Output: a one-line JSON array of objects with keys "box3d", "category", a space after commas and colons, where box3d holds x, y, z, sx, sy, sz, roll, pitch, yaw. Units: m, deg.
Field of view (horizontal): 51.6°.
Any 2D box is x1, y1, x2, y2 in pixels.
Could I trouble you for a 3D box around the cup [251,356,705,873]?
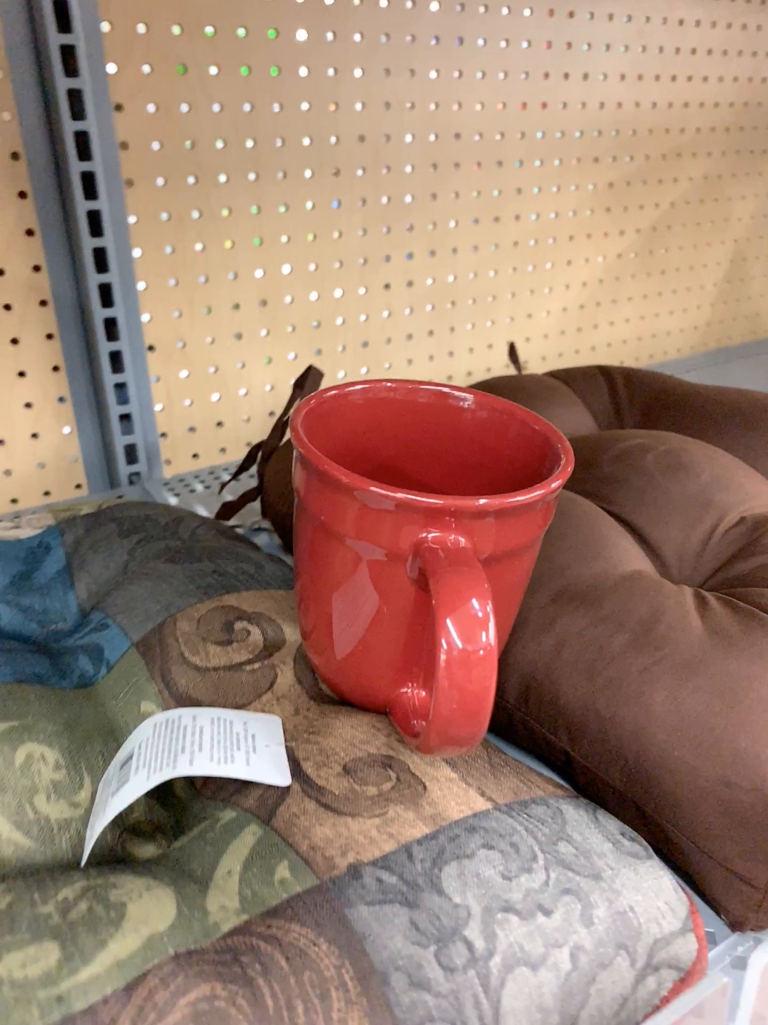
[{"box3d": [0.010, 0.020, 0.261, 0.100, 0.090, 0.151, 2, 30, -10], "category": "cup"}]
